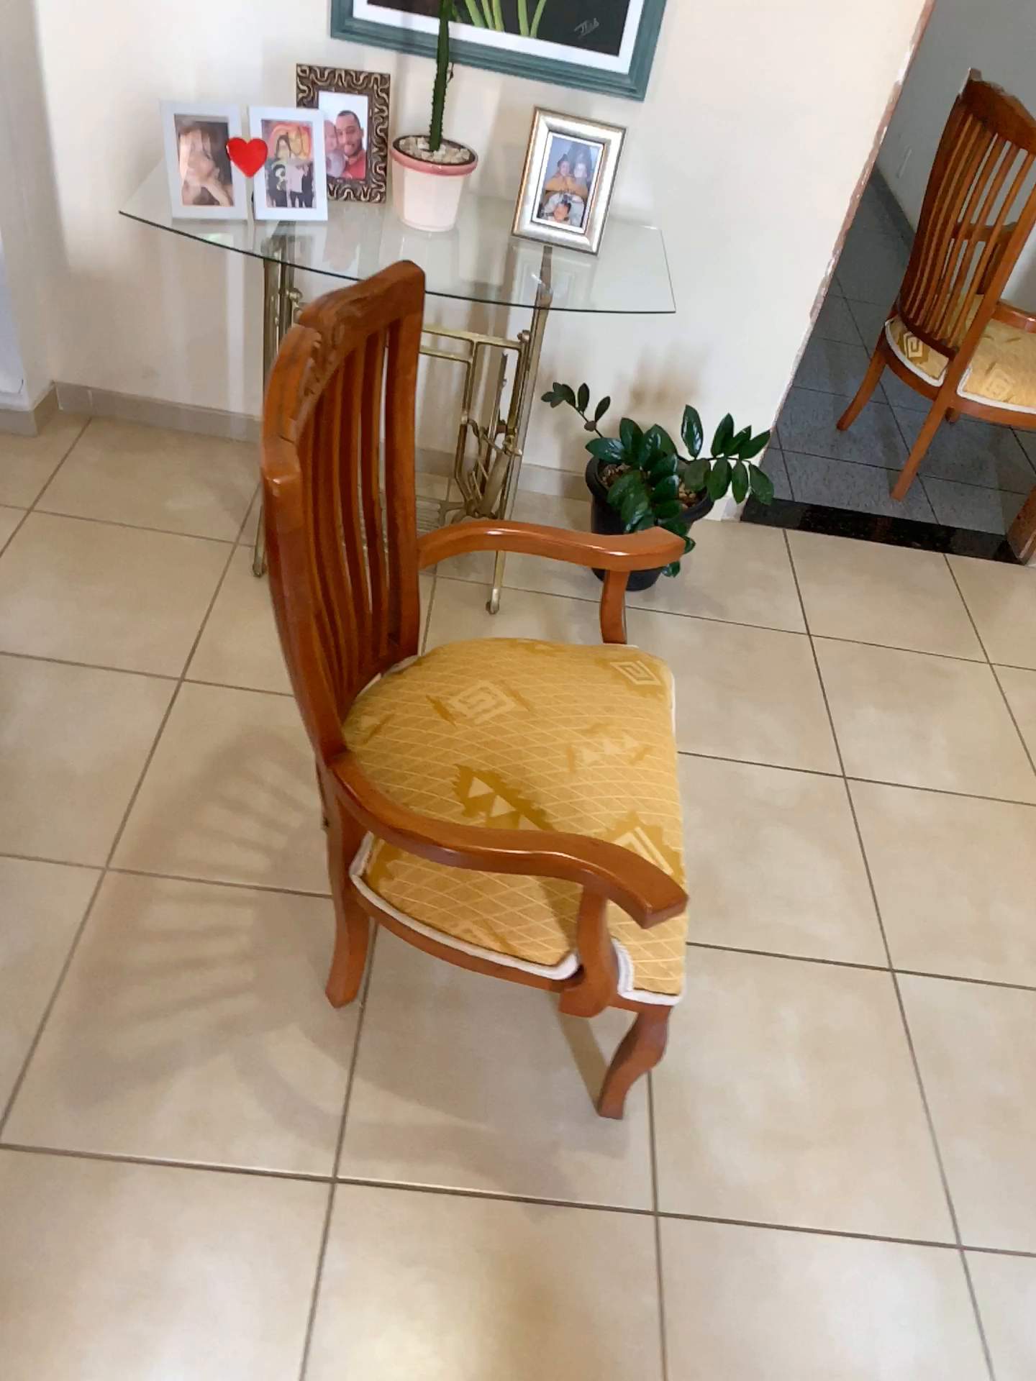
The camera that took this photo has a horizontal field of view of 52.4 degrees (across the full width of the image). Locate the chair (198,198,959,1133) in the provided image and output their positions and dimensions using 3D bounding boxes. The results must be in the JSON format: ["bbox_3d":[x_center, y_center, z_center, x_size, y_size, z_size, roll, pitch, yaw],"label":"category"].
[{"bbox_3d":[-0.009,0.025,1.425,0.630,1.014,0.623,10,42,-4],"label":"chair"}]
